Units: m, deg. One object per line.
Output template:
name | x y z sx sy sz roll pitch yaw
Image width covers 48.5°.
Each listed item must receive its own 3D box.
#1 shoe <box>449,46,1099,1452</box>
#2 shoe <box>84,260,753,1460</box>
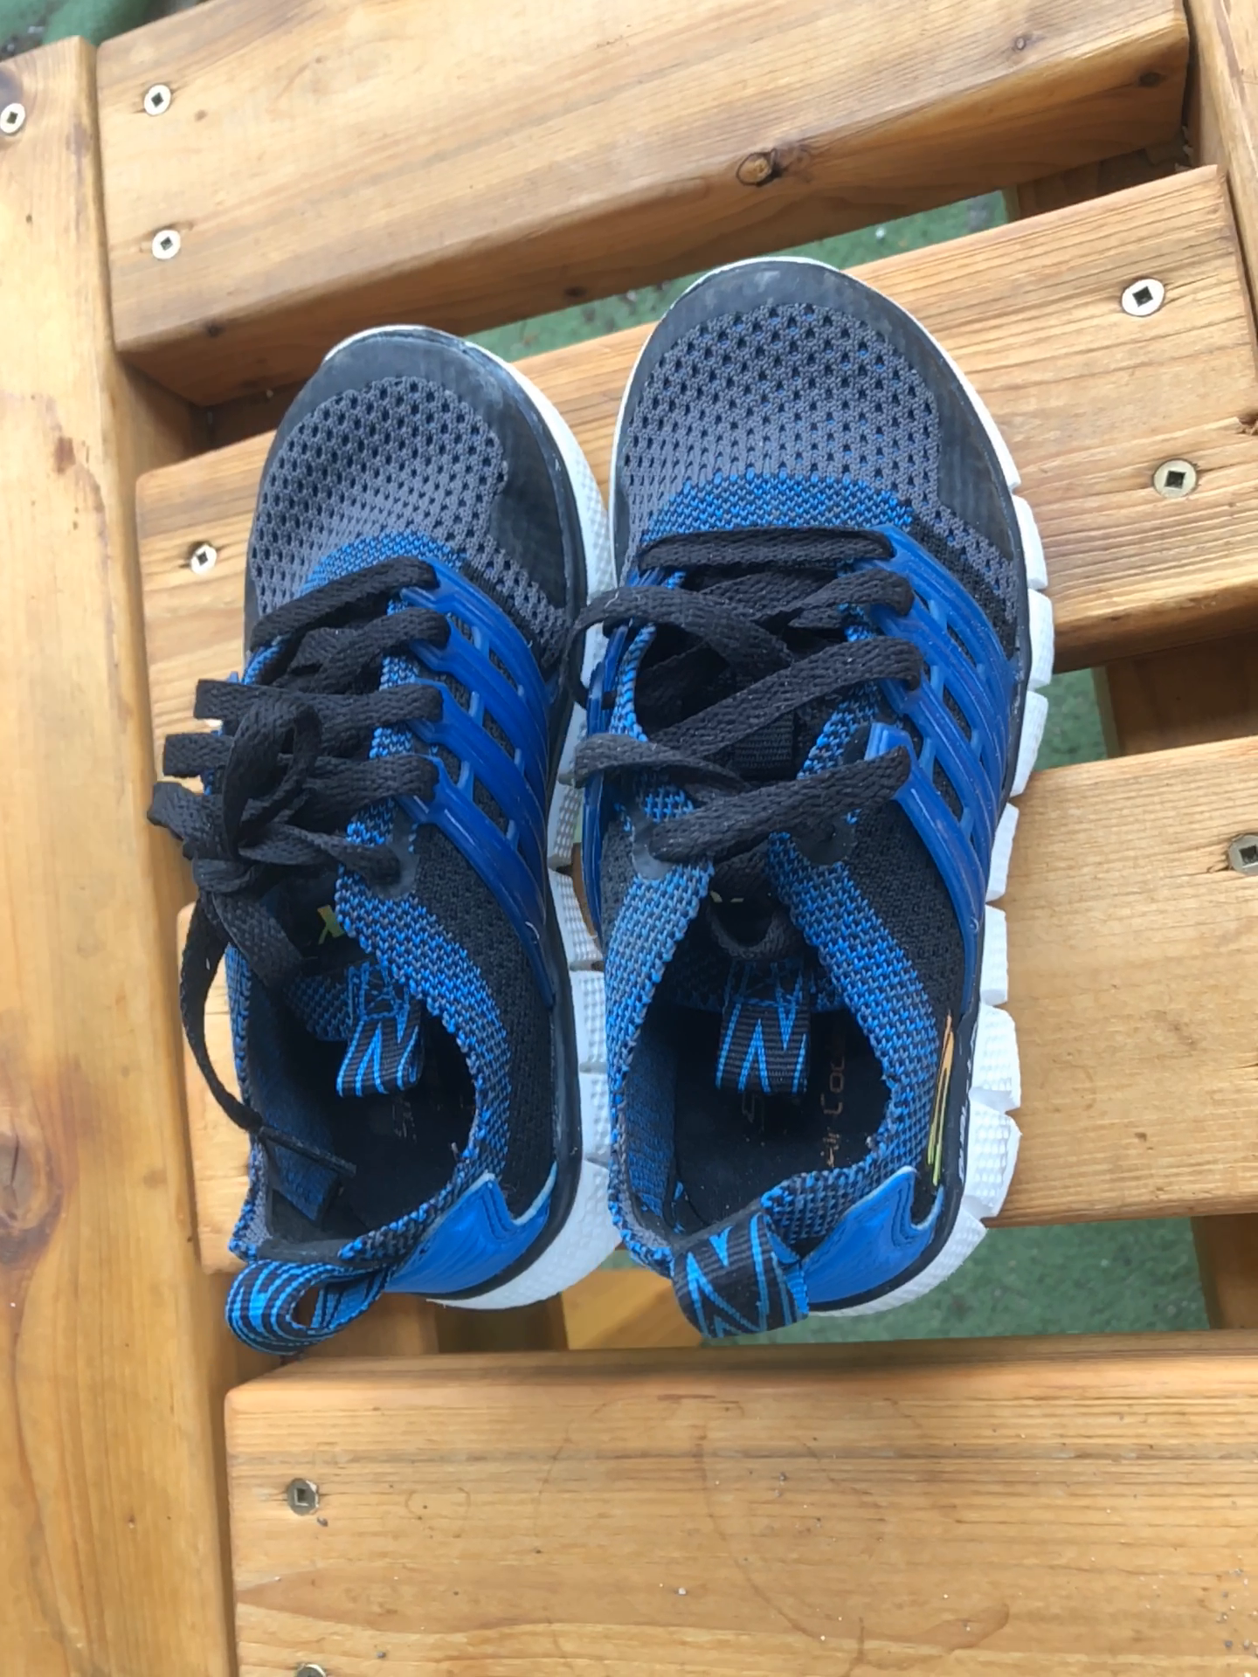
shoe | 0.031 -0.009 0.246 0.080 0.100 0.190 -6 84 18
shoe | -0.038 0.007 0.291 0.080 0.100 0.200 -10 83 18
